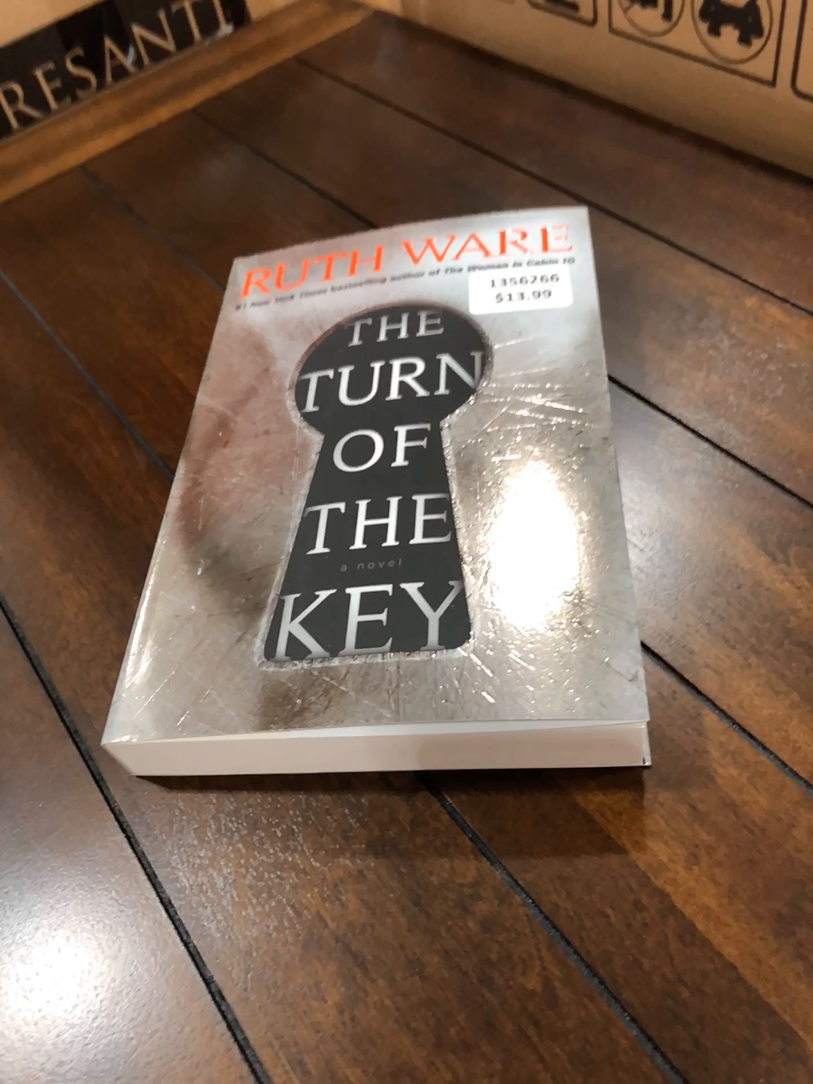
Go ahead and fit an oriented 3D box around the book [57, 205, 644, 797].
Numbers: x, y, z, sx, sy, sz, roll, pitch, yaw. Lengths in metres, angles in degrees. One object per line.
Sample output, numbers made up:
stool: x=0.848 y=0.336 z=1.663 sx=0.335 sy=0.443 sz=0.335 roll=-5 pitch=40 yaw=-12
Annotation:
book: x=-0.010 y=-0.029 z=0.321 sx=0.158 sy=0.028 sz=0.233 roll=-4 pitch=52 yaw=10
